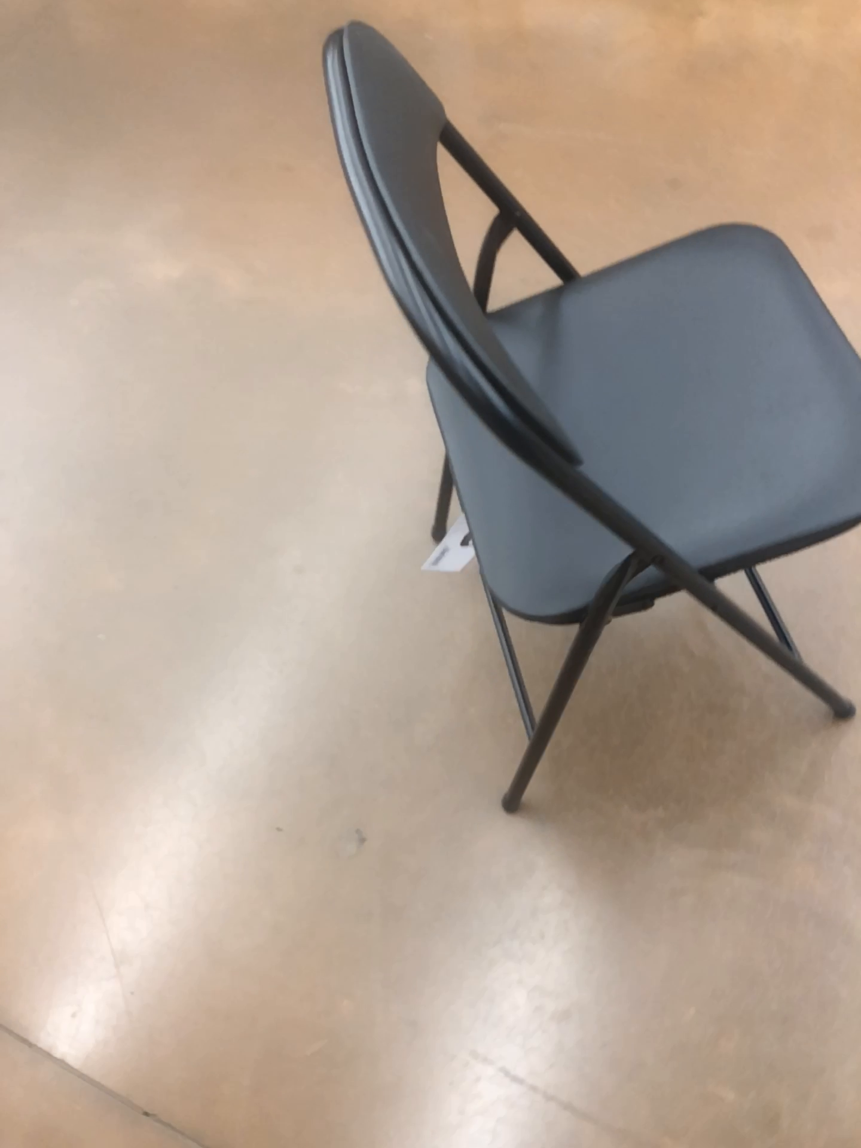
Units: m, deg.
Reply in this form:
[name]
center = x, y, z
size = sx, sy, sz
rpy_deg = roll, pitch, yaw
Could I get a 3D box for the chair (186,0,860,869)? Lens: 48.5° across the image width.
[chair]
center = 0.179, -0.132, 0.907
size = 0.490, 0.758, 0.521
rpy_deg = -17, 57, 4
